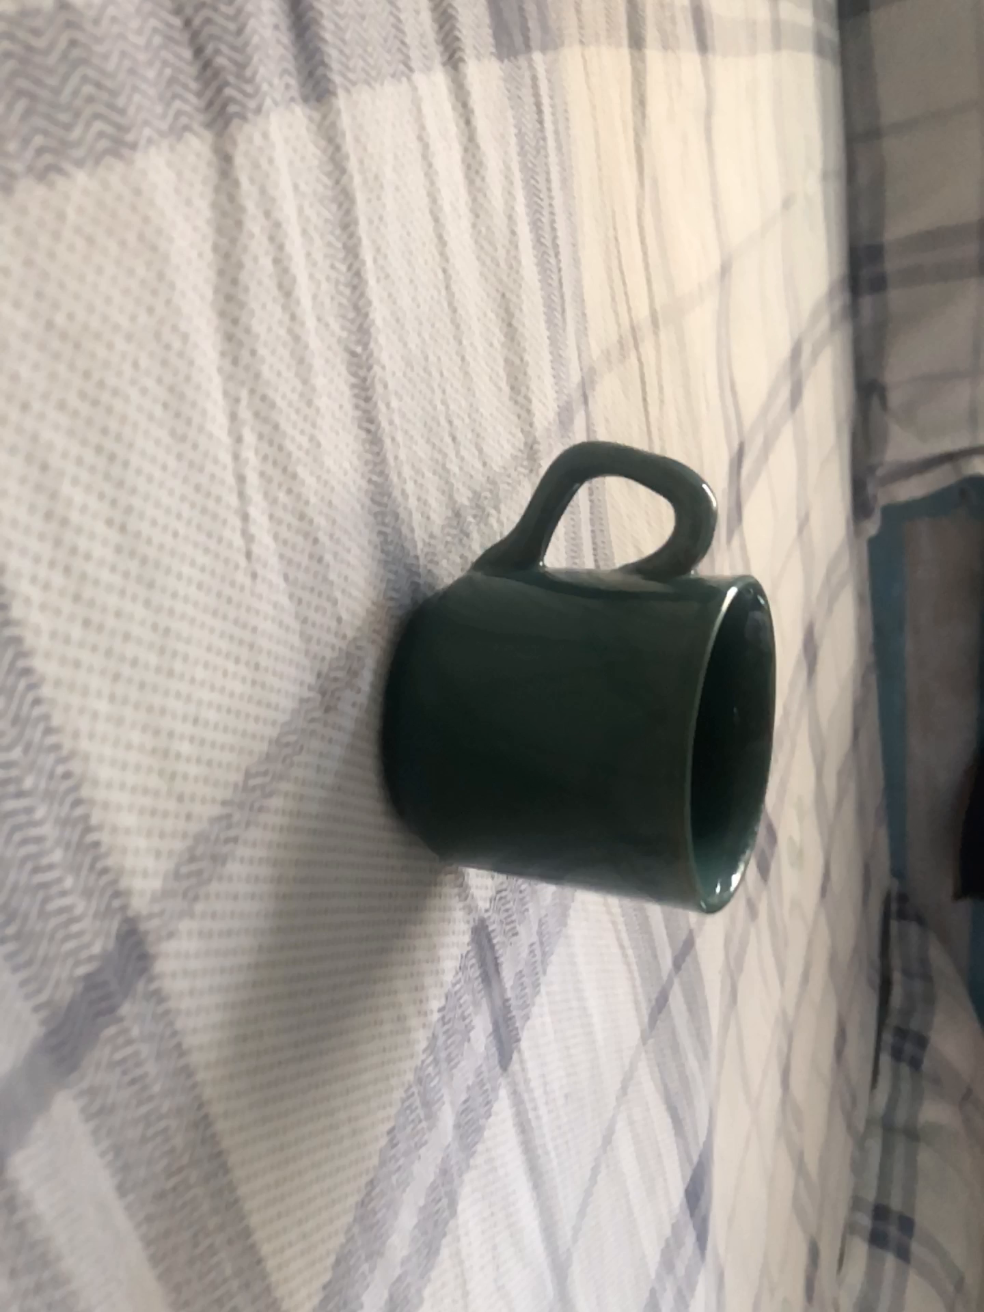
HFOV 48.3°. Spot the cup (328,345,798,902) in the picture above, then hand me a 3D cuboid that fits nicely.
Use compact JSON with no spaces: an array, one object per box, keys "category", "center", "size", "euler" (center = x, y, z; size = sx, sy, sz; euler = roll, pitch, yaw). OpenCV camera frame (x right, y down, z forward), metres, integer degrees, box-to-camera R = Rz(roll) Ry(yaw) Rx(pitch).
[{"category":"cup","center":[0.020,-0.001,0.205],"size":[0.070,0.060,0.080],"euler":[38,56,-61]}]
